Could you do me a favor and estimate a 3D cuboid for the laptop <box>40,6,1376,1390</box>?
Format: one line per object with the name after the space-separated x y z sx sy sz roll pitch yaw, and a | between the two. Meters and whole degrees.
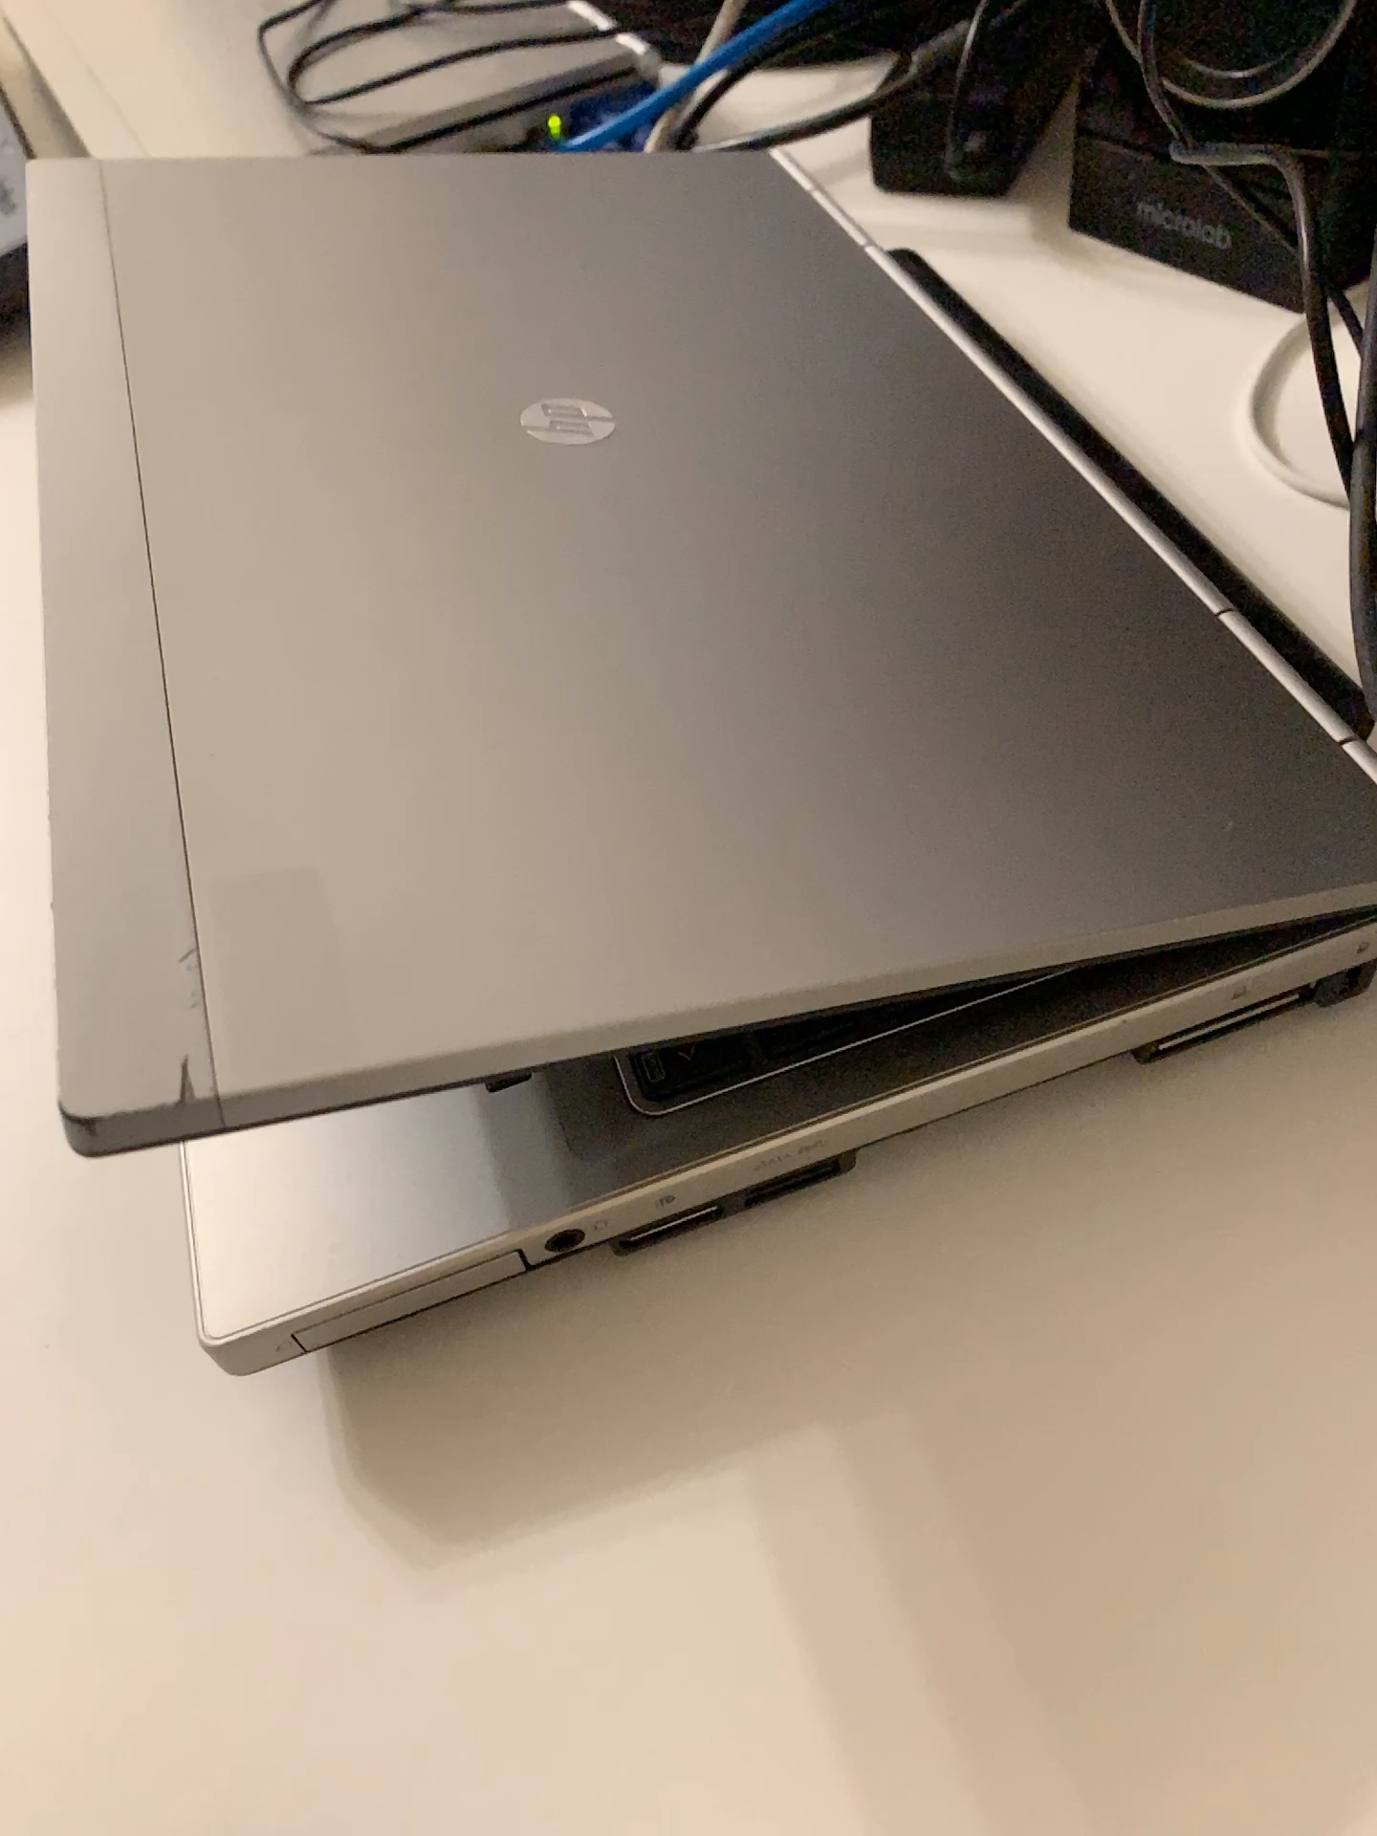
-0.024 -0.087 0.292 0.199 0.042 0.305 -21 50 -3 | laptop
